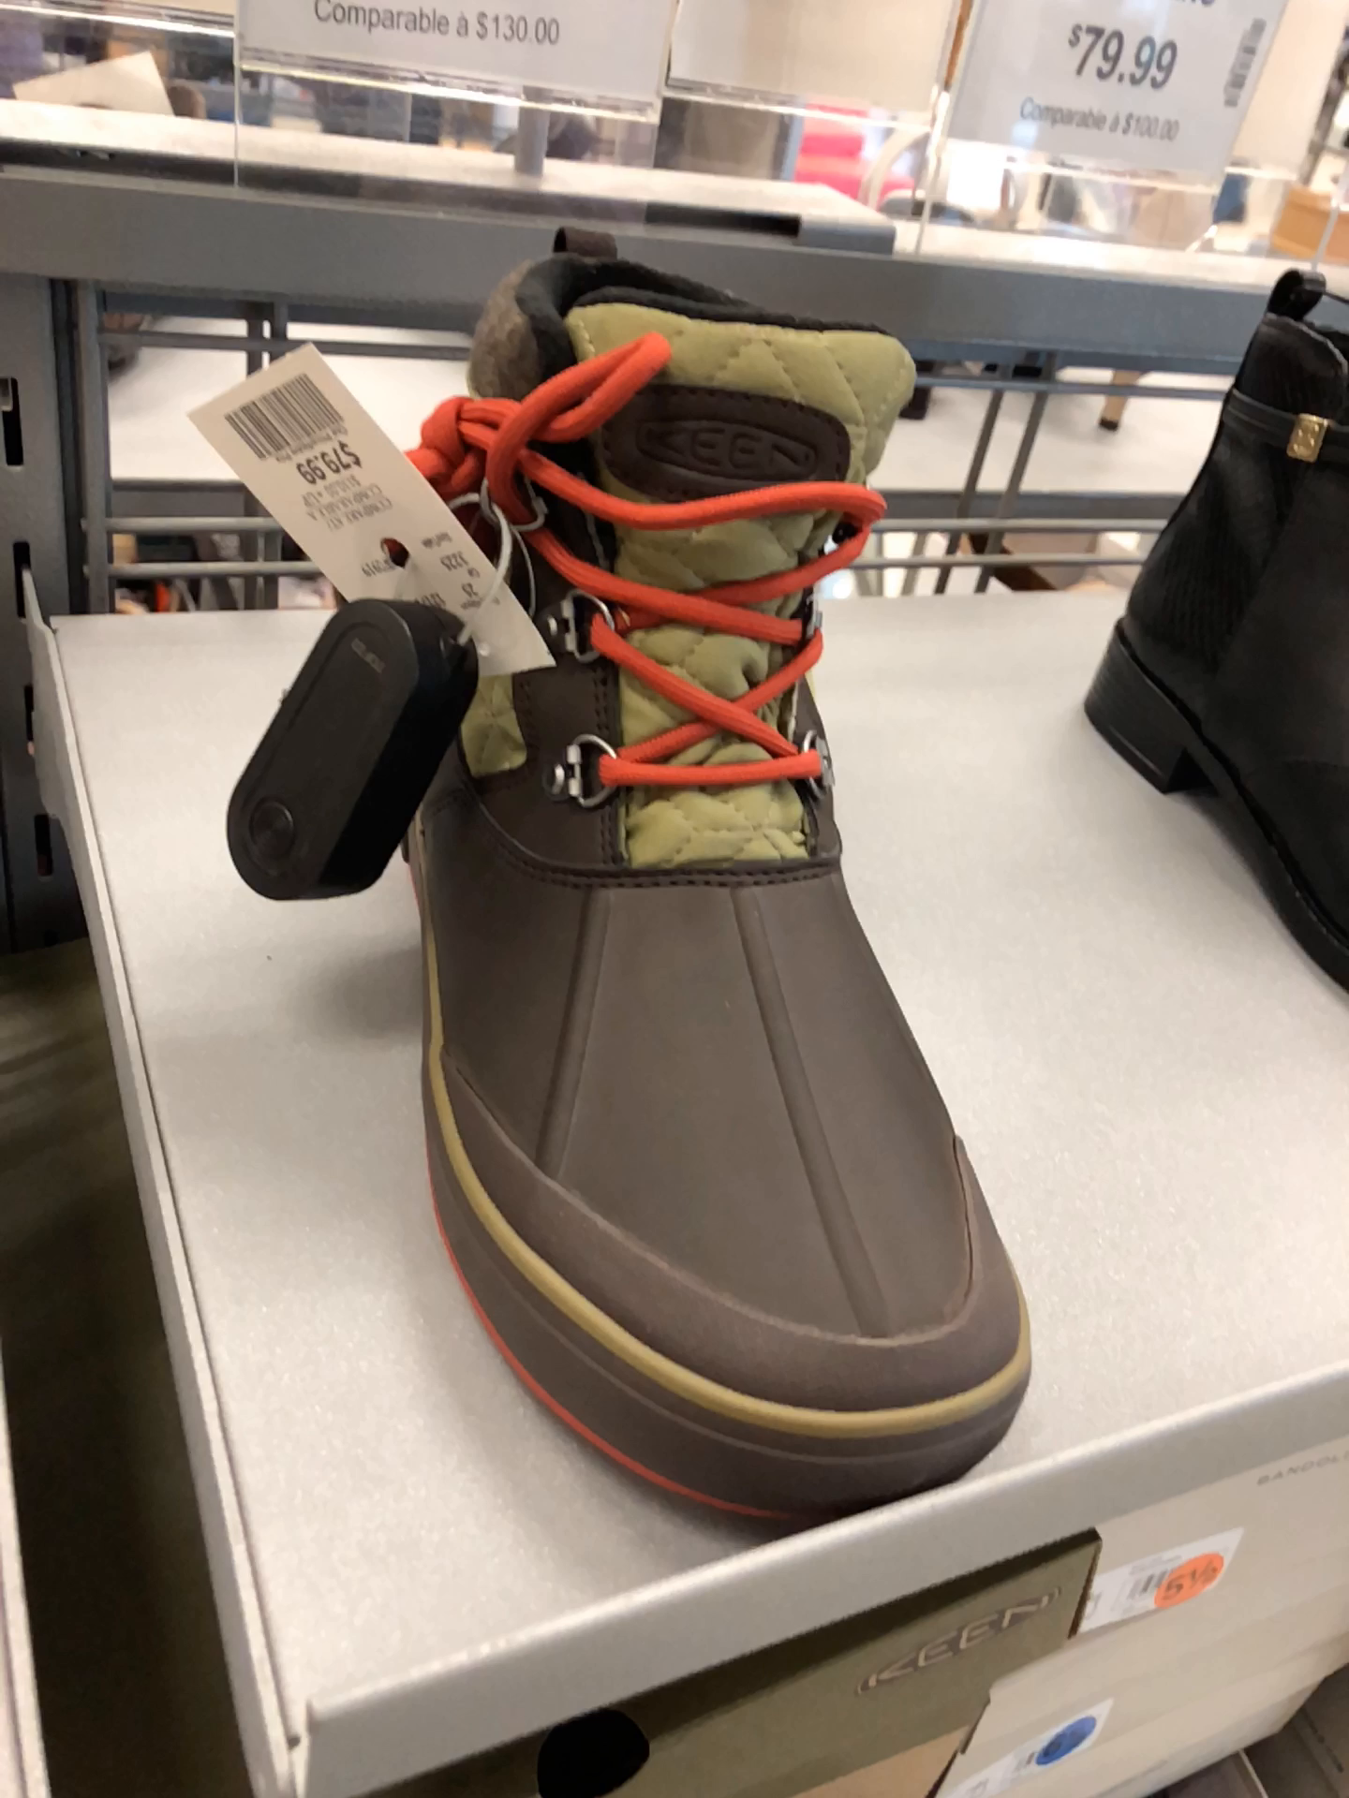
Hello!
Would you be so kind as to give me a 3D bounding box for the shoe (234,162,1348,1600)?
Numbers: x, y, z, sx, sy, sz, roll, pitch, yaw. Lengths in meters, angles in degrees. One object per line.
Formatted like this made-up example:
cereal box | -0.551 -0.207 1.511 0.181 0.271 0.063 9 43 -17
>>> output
shoe | -0.010 -0.035 0.297 0.107 0.139 0.262 -5 38 -24
